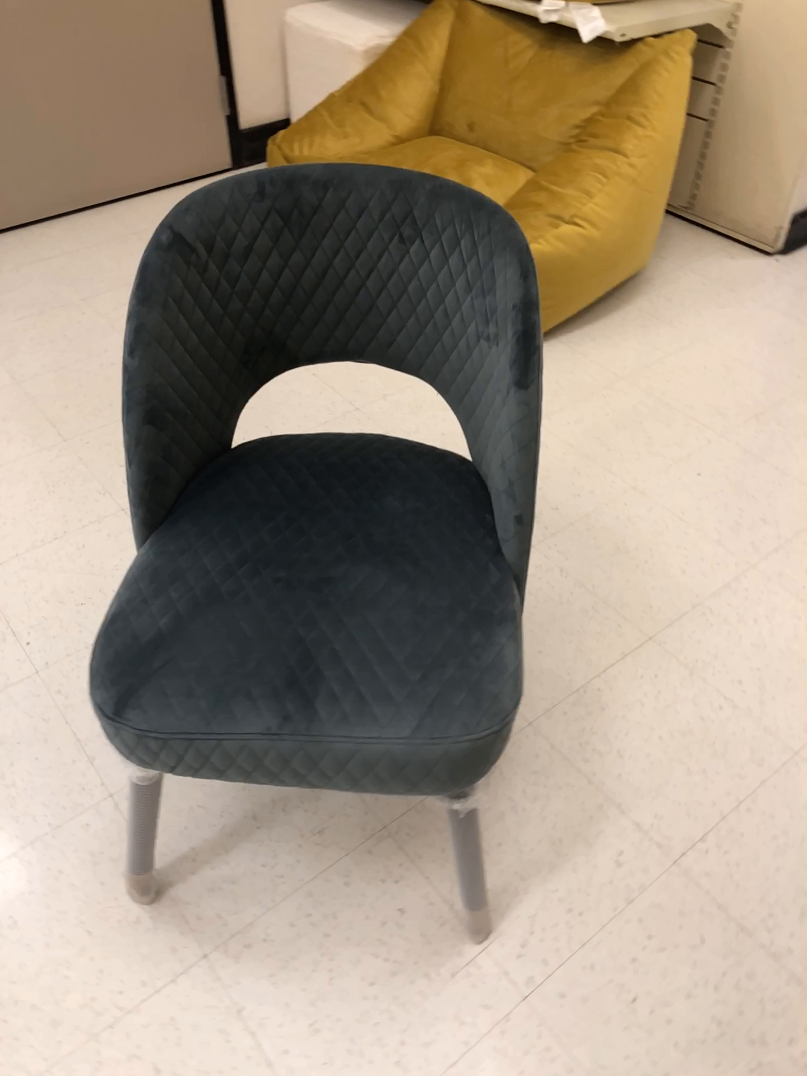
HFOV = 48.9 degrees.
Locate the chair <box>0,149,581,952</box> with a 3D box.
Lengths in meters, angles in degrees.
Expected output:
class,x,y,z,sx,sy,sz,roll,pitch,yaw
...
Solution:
class,x,y,z,sx,sy,sz,roll,pitch,yaw
chair,-0.107,0.043,1.172,0.531,0.857,0.582,4,43,4
